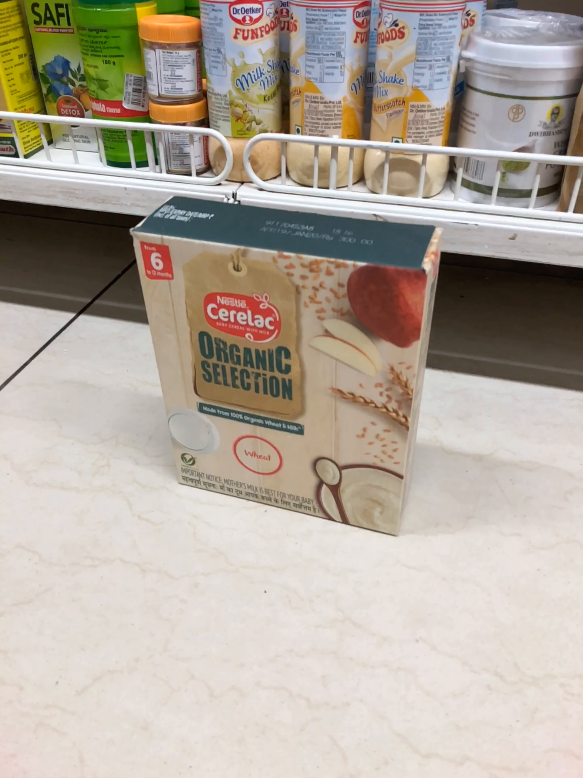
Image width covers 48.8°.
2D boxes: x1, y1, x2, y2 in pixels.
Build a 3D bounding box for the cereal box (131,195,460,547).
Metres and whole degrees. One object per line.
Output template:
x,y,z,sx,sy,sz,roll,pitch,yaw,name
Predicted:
0.003,-0.006,0.383,0.160,0.189,0.050,11,39,15,cereal box
